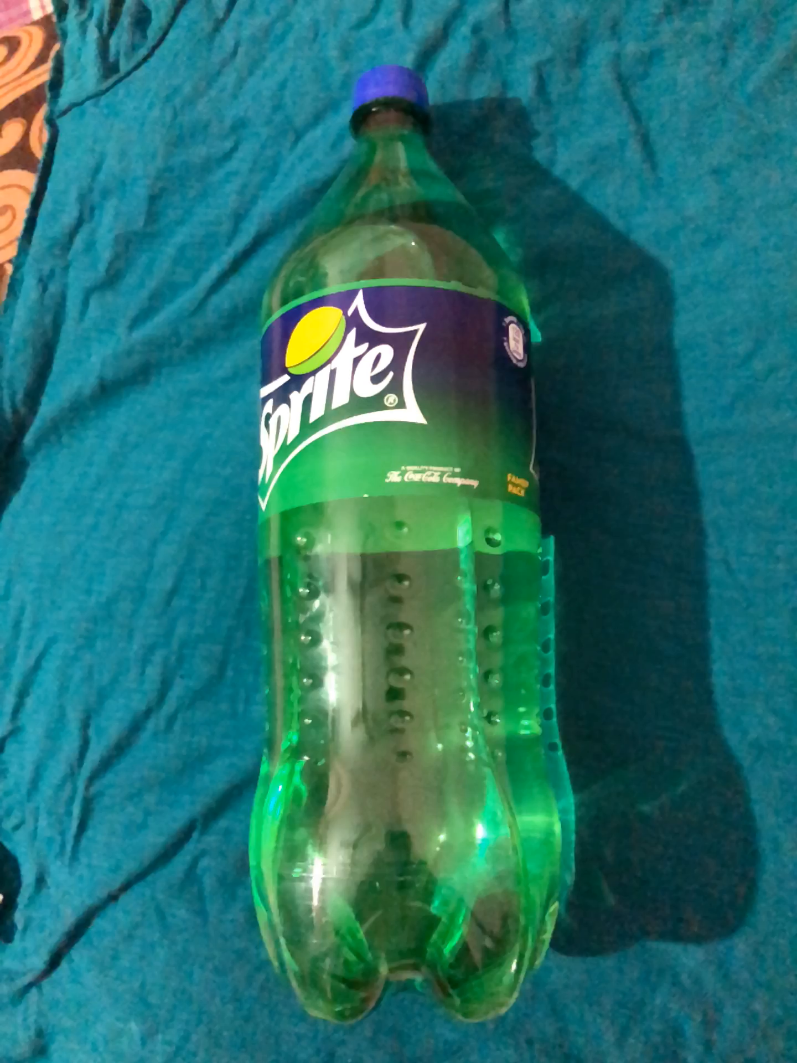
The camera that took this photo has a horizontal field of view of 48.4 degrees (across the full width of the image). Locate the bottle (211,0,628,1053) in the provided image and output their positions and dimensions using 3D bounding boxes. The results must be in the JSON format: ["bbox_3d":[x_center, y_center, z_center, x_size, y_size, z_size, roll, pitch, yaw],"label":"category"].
[{"bbox_3d":[0.002,-0.022,0.304,0.110,0.070,0.330,-7,79,26],"label":"bottle"}]
